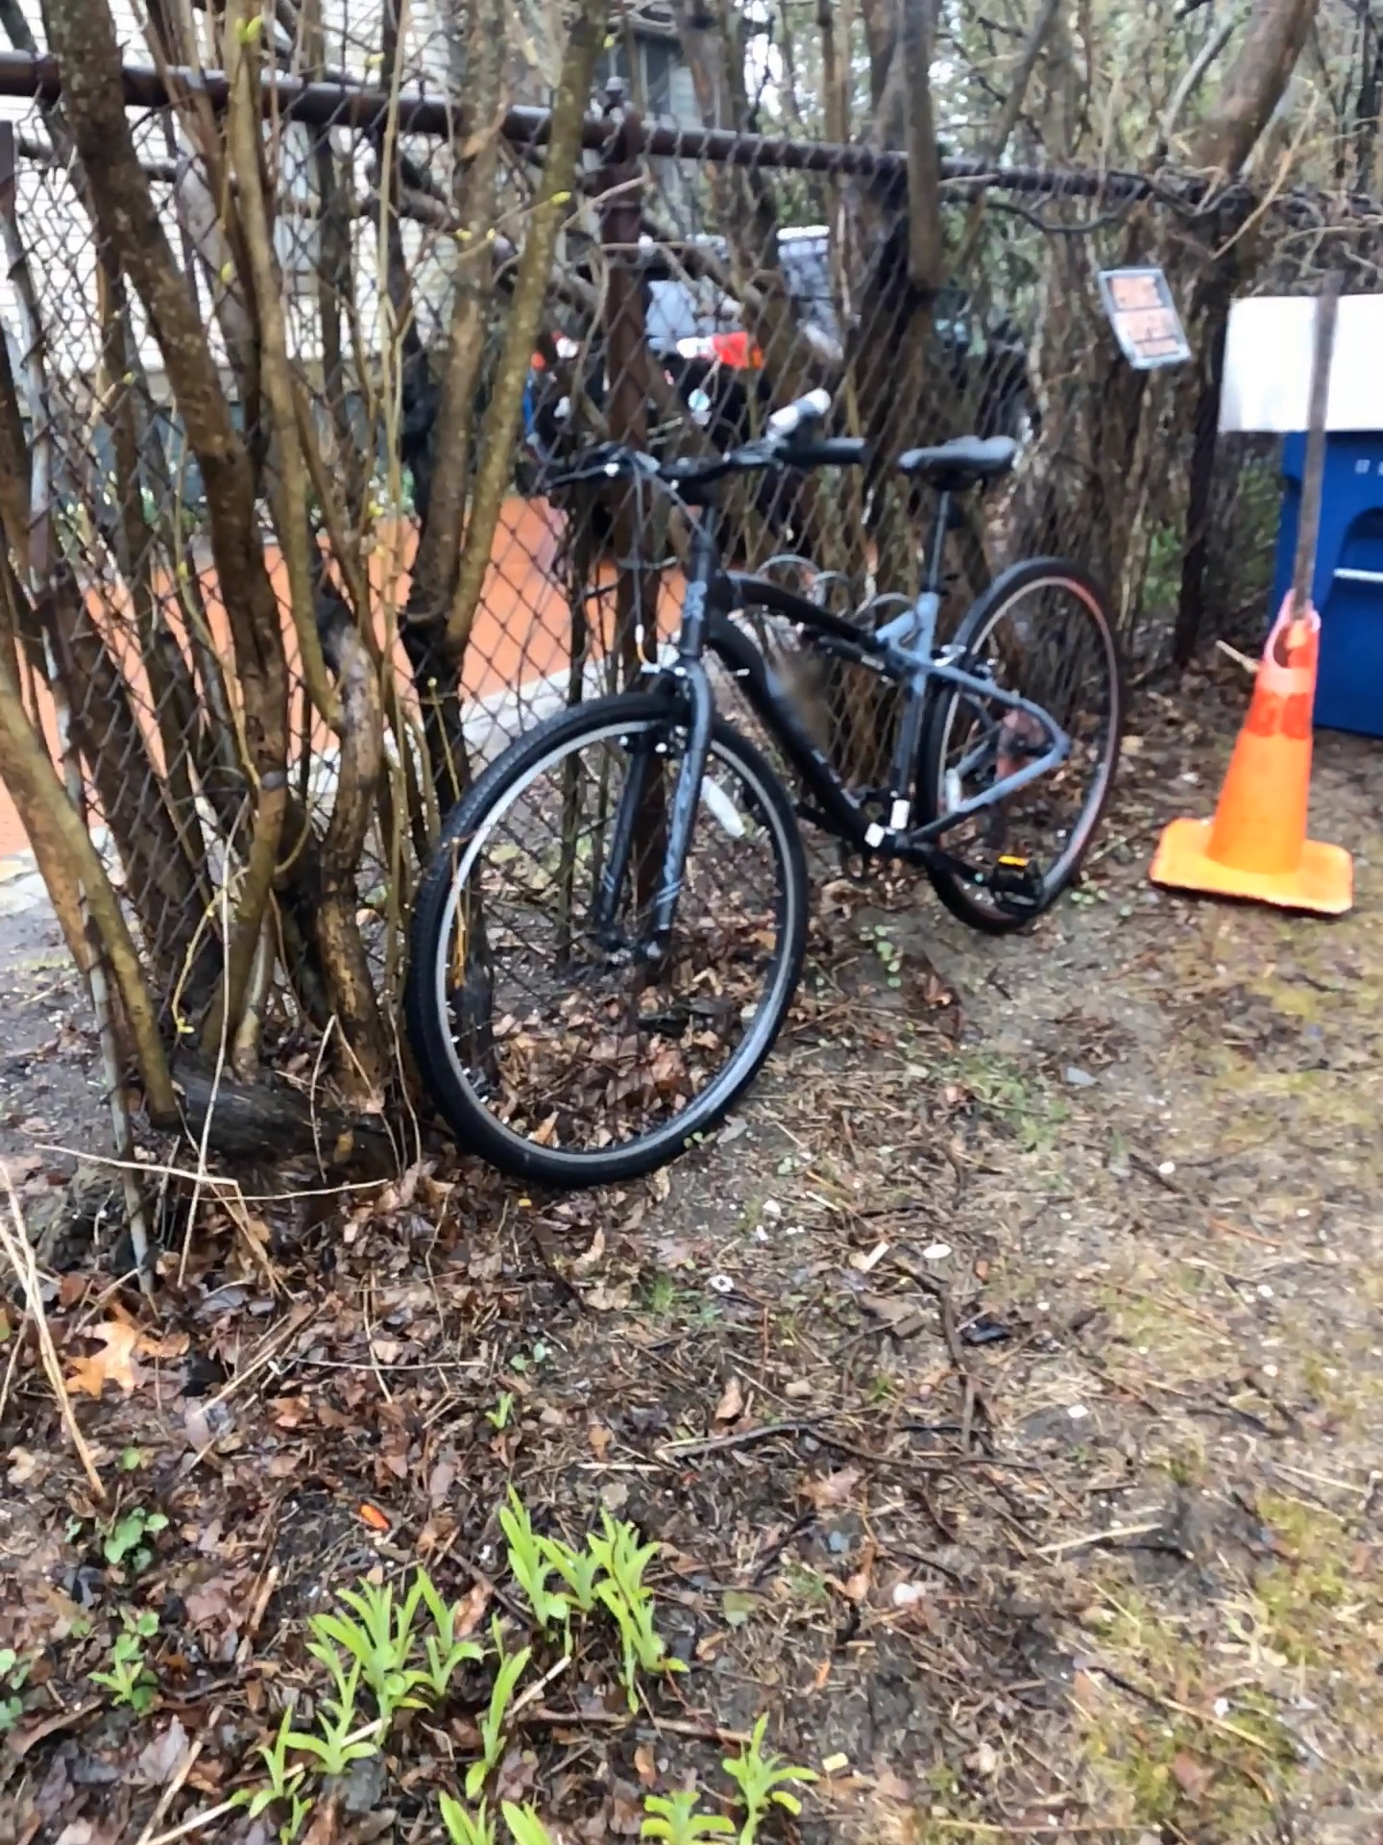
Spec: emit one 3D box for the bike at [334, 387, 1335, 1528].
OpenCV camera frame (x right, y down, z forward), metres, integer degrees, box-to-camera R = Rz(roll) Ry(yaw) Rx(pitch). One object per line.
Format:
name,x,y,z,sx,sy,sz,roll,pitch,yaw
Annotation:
bike,0.383,-0.167,2.495,0.537,1.067,1.893,17,33,38
